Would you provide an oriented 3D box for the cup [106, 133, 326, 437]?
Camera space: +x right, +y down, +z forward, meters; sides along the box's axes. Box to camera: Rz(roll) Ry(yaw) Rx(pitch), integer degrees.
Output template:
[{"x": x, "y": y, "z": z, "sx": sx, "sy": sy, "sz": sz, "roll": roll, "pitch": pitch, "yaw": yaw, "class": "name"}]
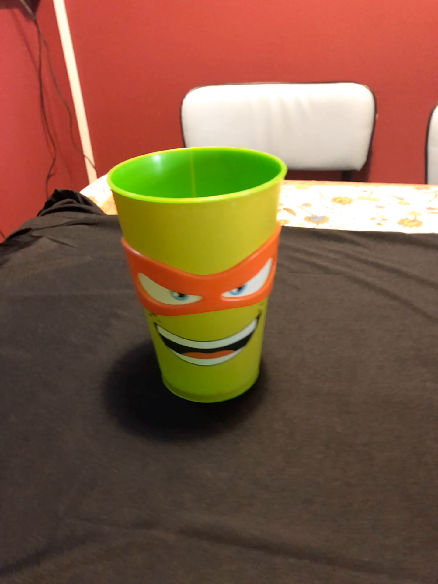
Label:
[{"x": -0.007, "y": -0.011, "z": 0.301, "sx": 0.100, "sy": 0.139, "sz": 0.111, "roll": -9, "pitch": 30, "yaw": -9, "class": "cup"}]
